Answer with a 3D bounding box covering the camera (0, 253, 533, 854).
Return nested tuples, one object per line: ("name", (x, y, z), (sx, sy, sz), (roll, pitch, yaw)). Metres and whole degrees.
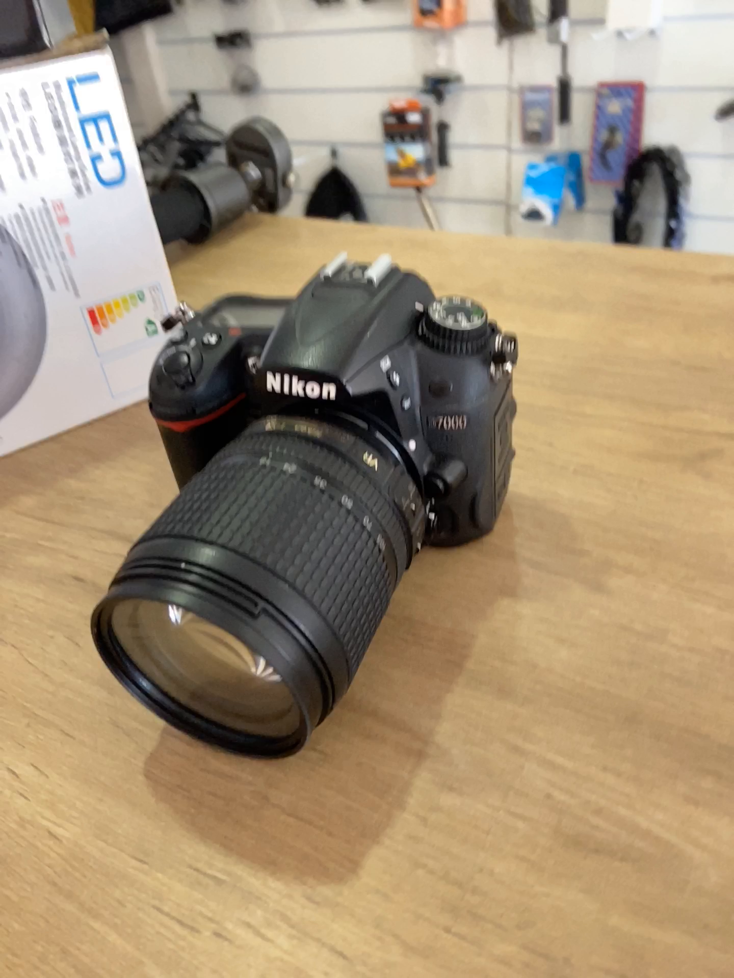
("camera", (-0.029, 0.000, 0.251), (0.140, 0.099, 0.161), (6, 38, 19))
